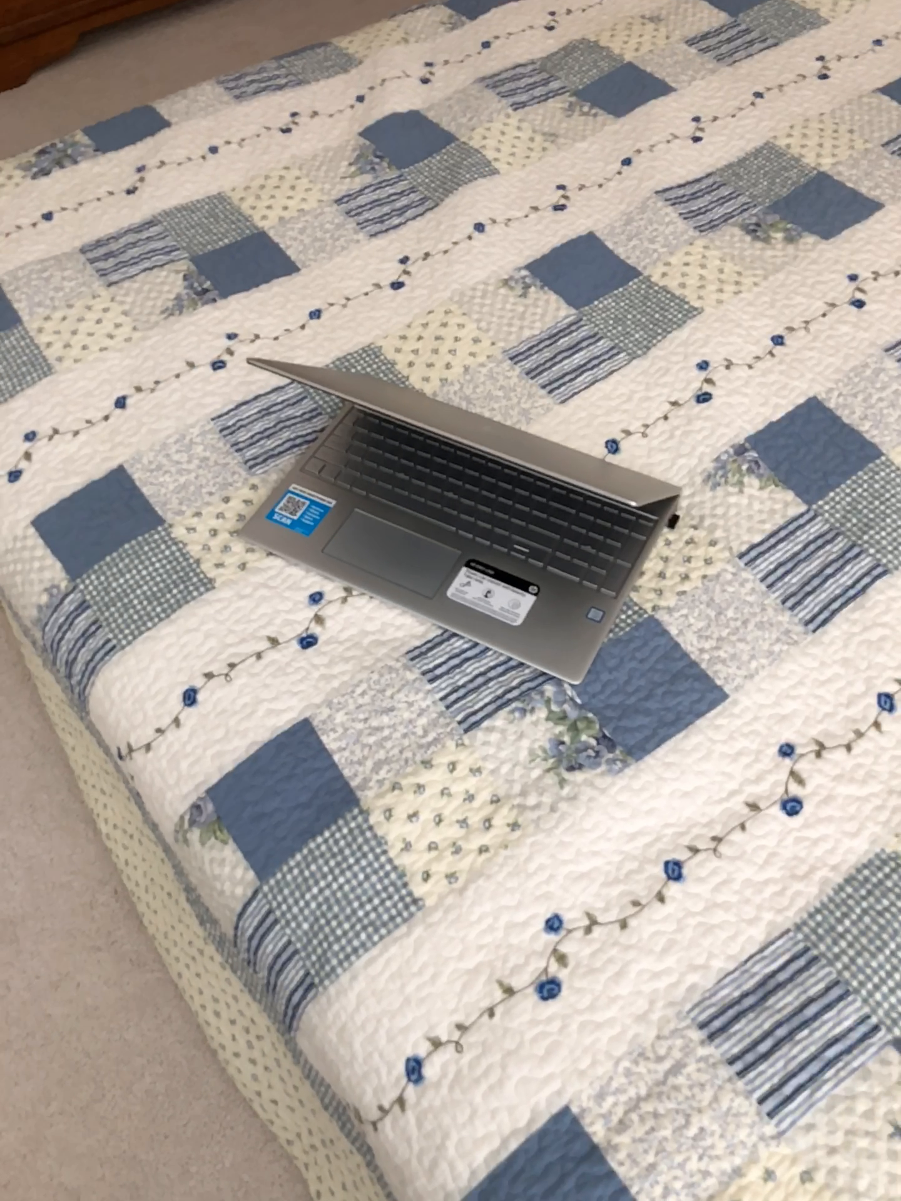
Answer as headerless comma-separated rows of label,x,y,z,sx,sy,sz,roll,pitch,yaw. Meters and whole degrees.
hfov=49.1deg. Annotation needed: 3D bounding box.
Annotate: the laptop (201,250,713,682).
laptop,0.010,-0.129,0.871,0.348,0.158,0.242,23,58,16
